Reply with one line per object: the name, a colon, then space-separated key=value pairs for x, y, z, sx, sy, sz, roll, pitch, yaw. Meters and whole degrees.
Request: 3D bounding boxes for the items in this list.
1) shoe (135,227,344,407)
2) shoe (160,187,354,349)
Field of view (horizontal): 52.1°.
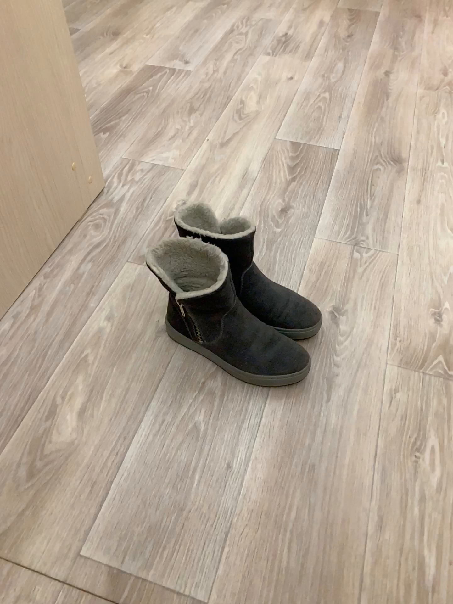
shoe: x=0.016 y=0.022 z=0.706 sx=0.270 sy=0.179 sz=0.100 roll=20 pitch=52 yaw=16
shoe: x=0.044 y=-0.055 z=0.752 sx=0.270 sy=0.169 sz=0.100 roll=18 pitch=52 yaw=15
